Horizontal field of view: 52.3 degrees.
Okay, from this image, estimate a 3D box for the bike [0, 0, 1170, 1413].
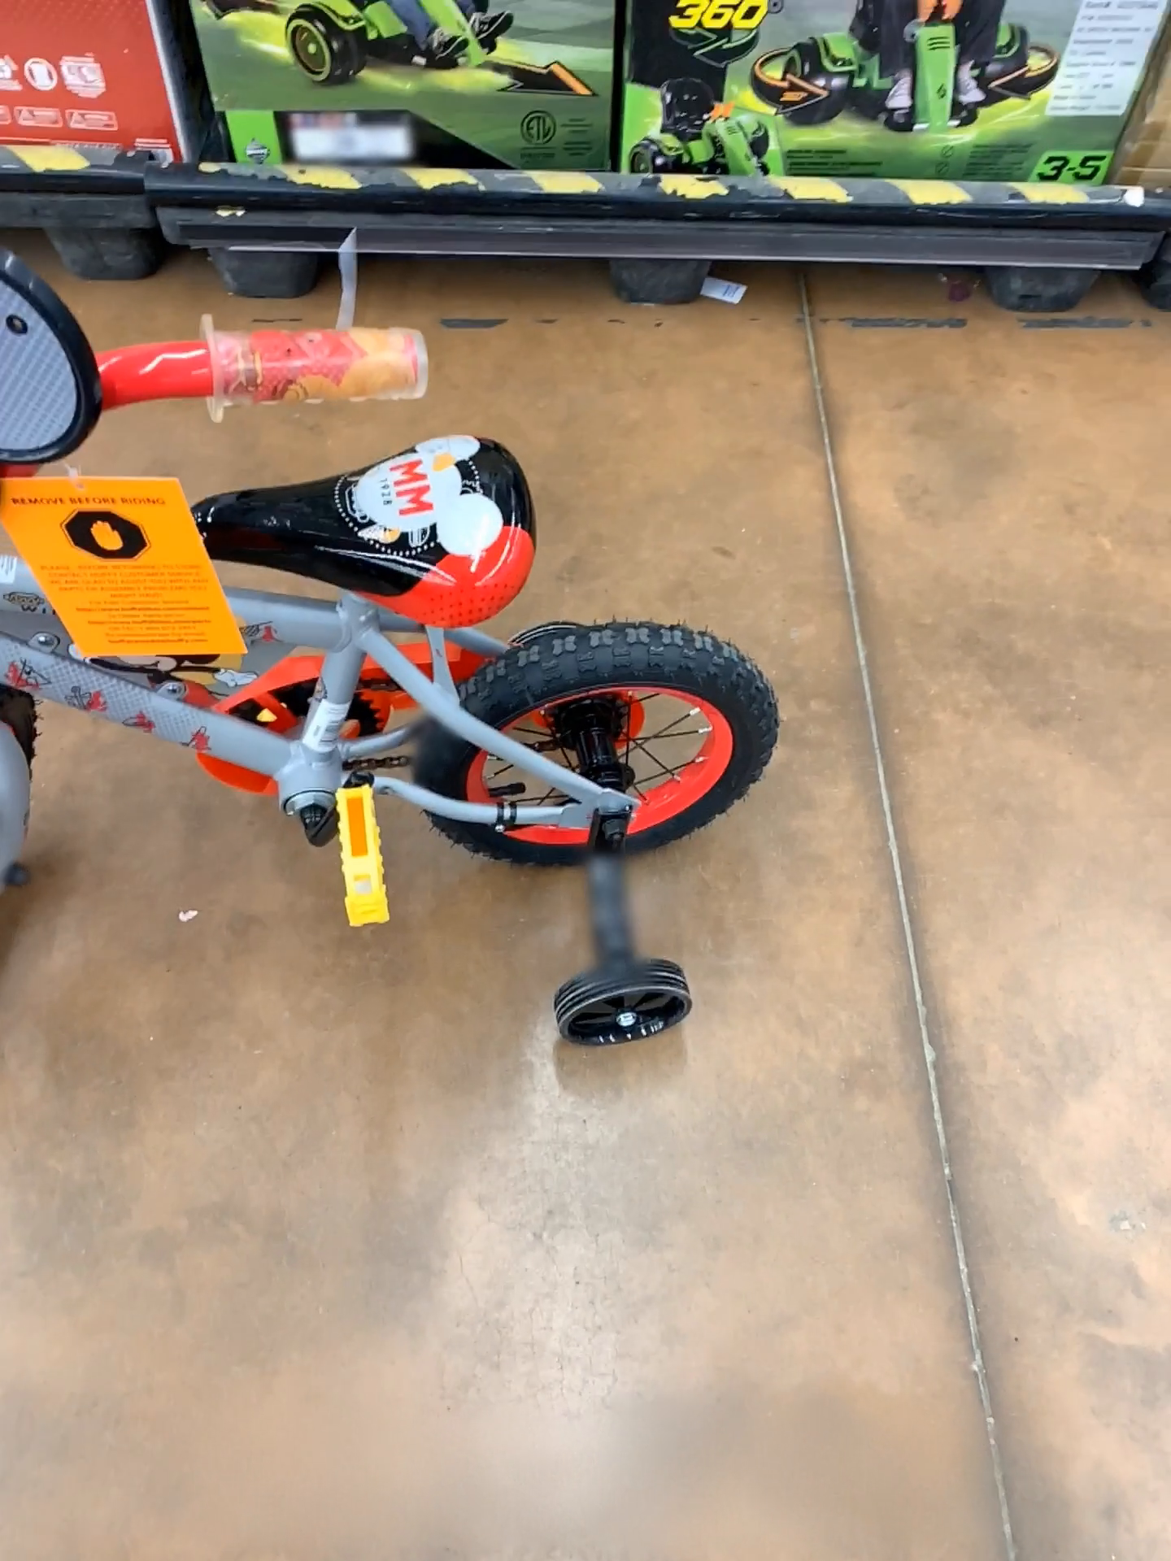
[{"bbox_3d":[-0.178,-0.044,0.728,0.678,0.742,0.450,-18,57,-11],"label":"bike"}]
